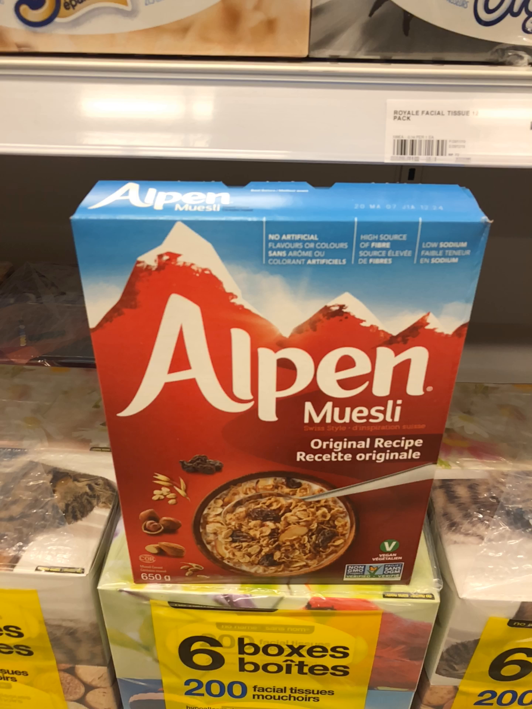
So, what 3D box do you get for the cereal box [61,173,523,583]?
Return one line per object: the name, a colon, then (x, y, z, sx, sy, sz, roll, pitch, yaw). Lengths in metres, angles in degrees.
cereal box: (0.009, 0.027, 0.313, 0.180, 0.229, 0.050, 0, 33, -1)
